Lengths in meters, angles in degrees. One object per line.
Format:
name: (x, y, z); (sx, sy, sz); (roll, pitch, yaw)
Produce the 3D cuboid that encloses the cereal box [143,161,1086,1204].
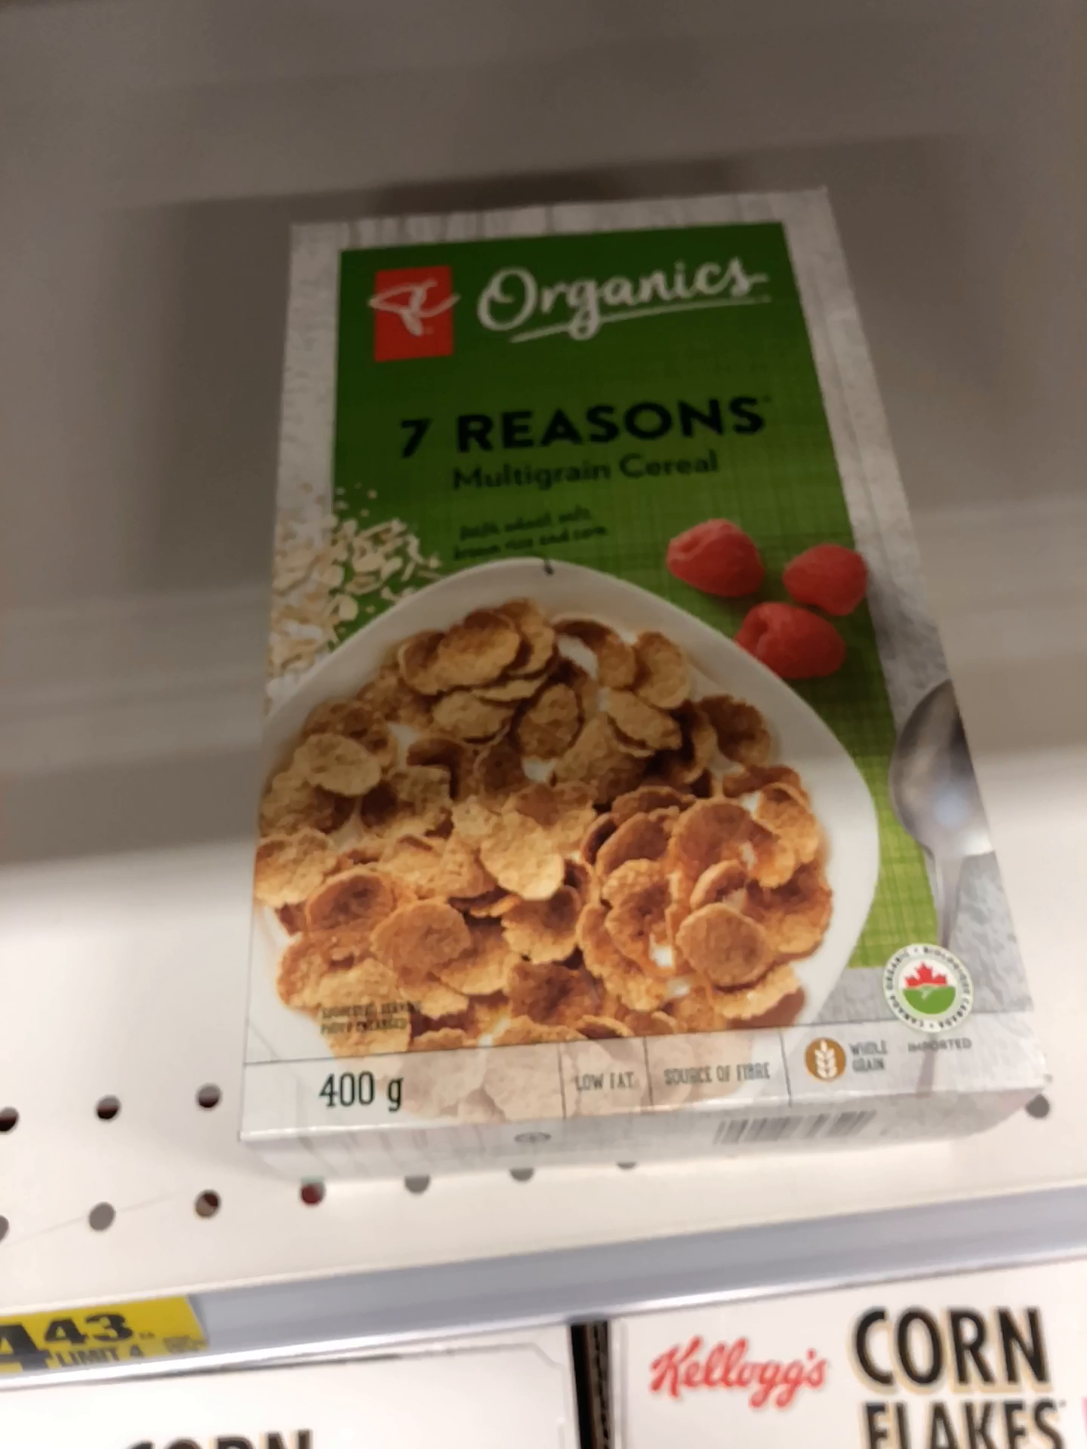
cereal box: (0.012, -0.026, 0.311); (0.180, 0.060, 0.260); (-3, 61, 0)
